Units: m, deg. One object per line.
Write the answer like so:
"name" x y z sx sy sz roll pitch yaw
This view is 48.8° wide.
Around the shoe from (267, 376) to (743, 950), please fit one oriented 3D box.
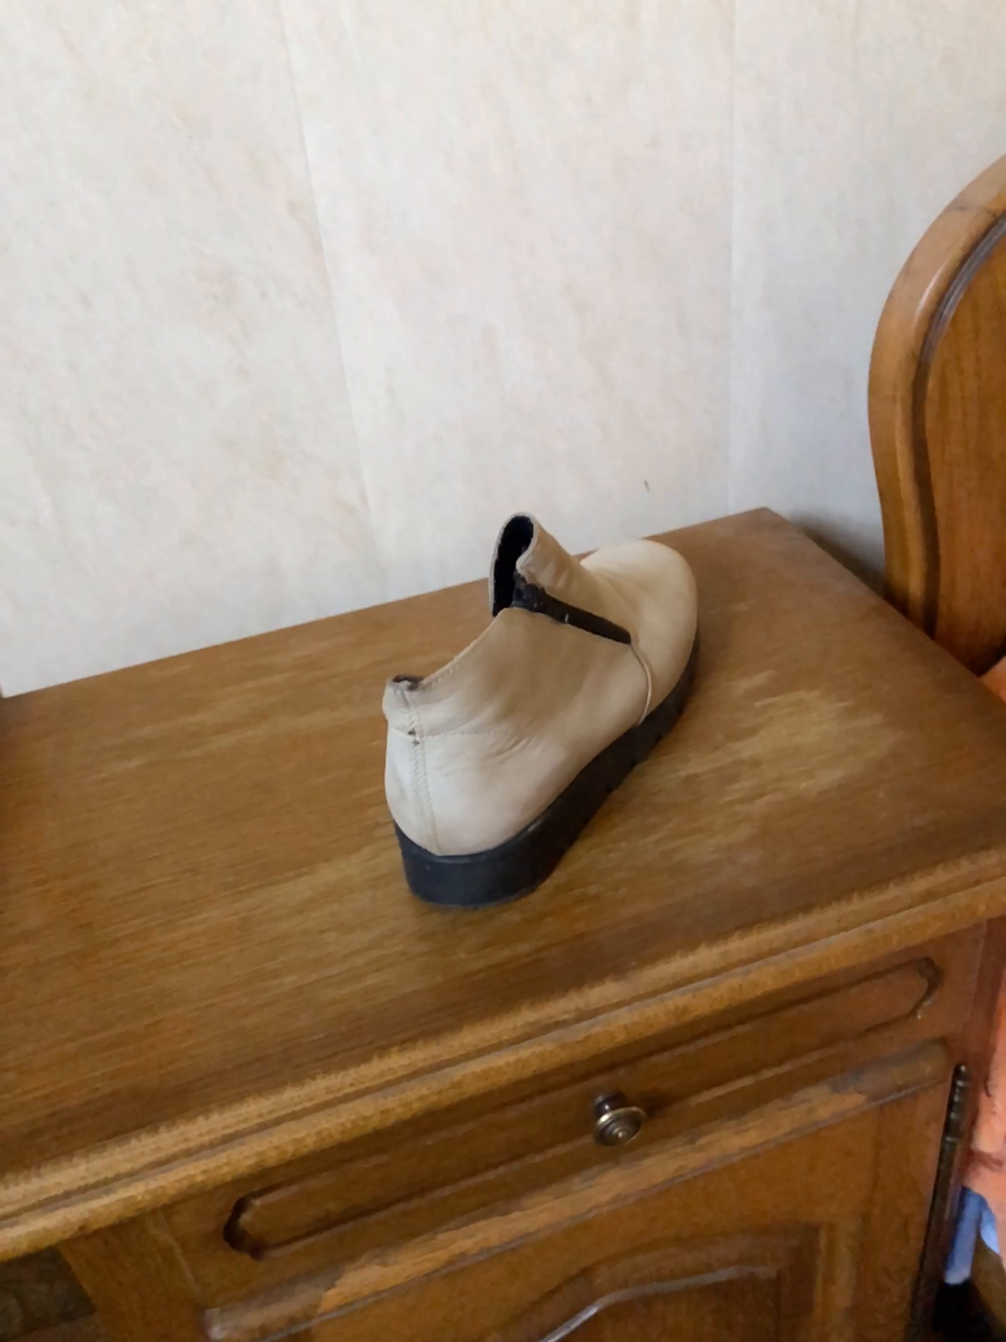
"shoe" 0.024 -0.026 0.514 0.100 0.129 0.272 10 36 24
